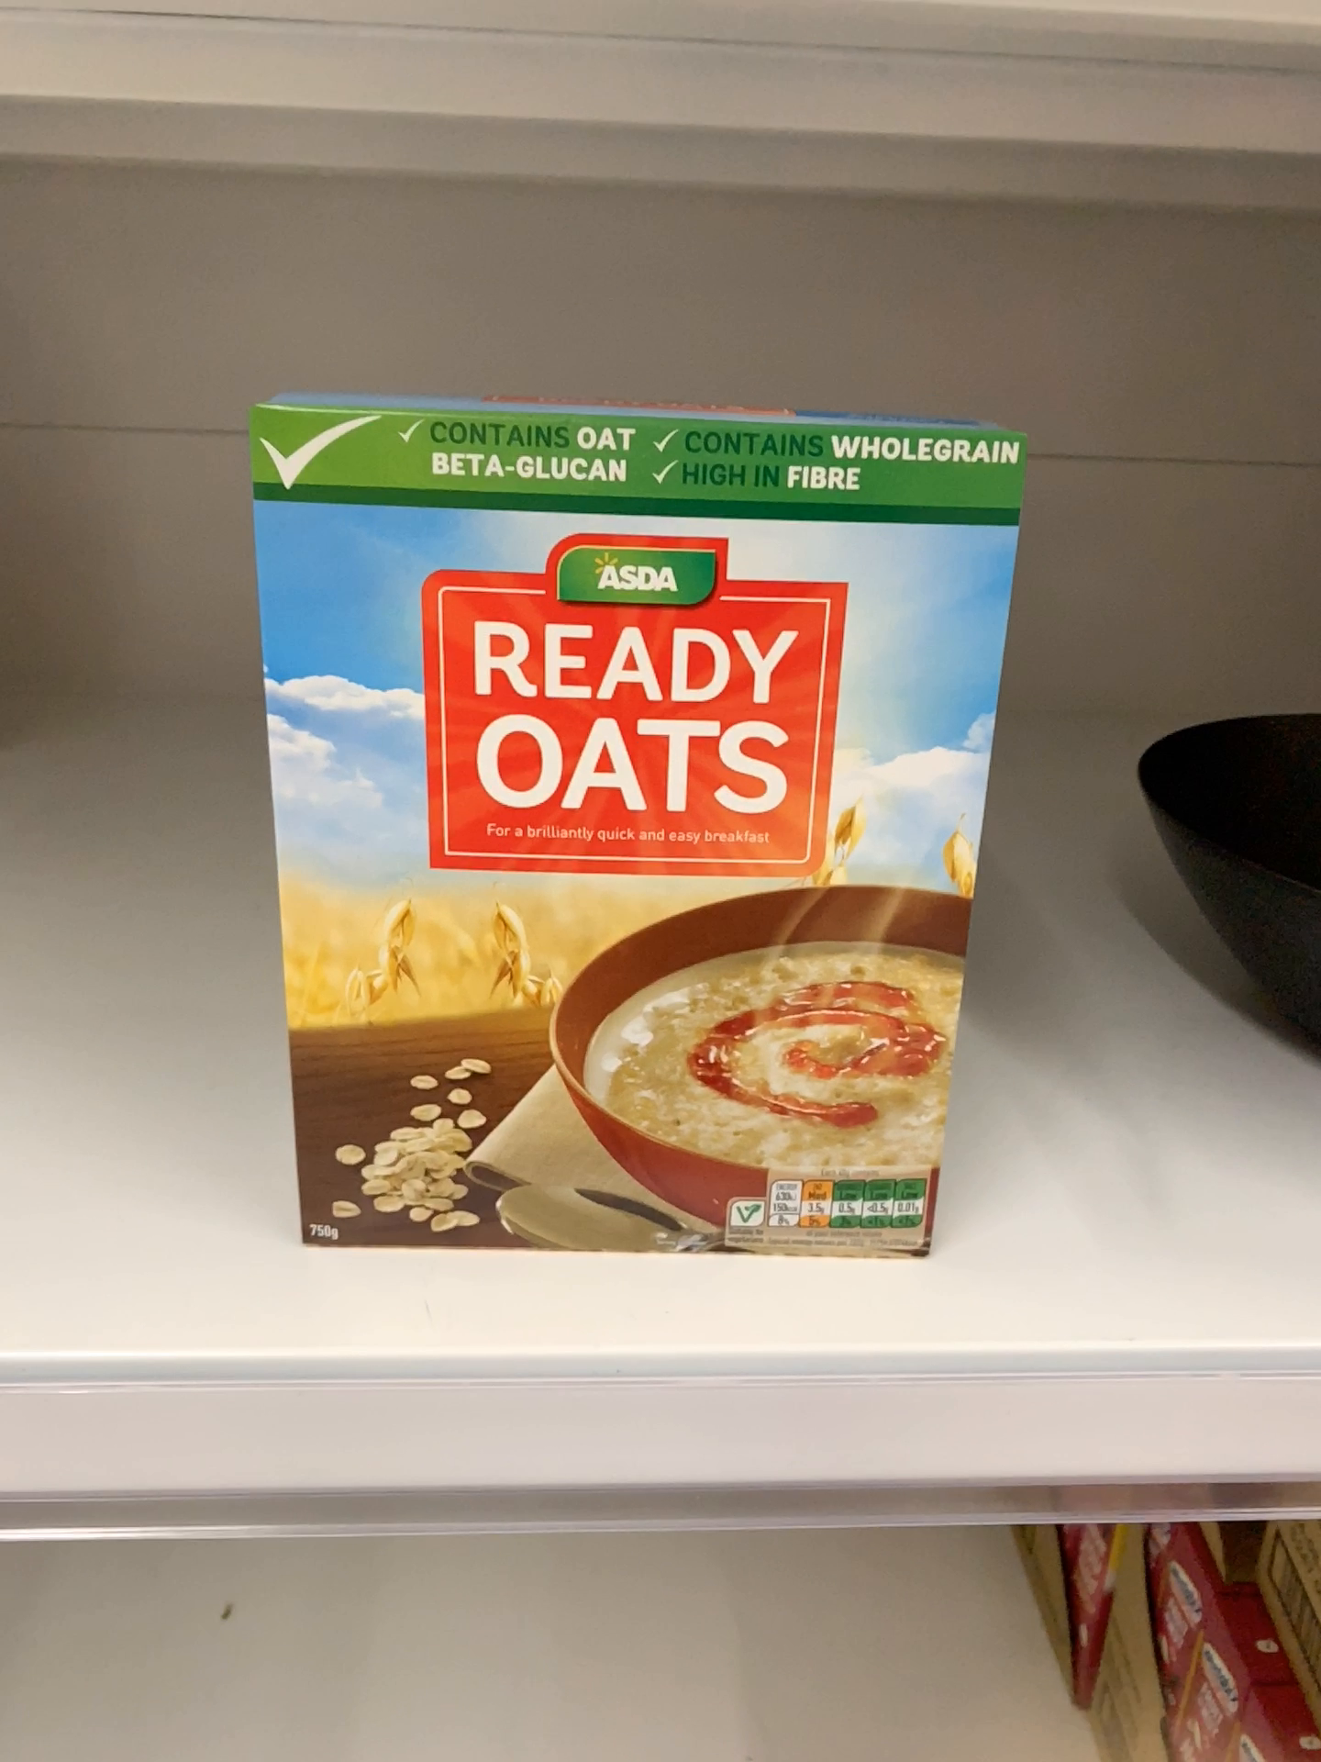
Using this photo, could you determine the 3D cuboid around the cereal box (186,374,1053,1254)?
[{"bbox_3d":[-0.015,-0.017,0.430,0.220,0.258,0.081,1,21,-2],"label":"cereal box"}]
